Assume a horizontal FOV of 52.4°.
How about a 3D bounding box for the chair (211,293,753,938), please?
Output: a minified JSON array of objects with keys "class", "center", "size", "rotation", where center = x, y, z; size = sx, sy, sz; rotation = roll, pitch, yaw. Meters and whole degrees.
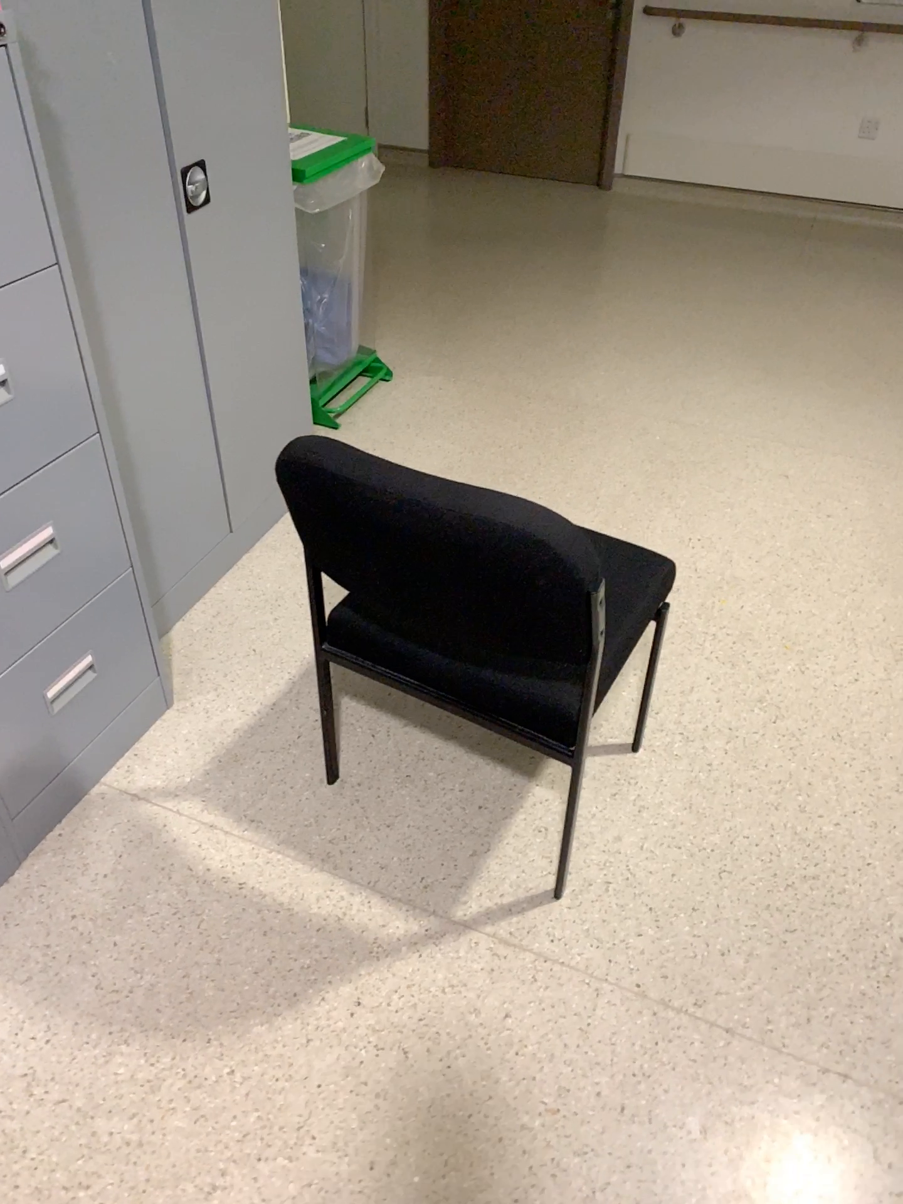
[{"class":"chair","center":[0.062,0.003,1.672],"size":[0.632,0.832,0.584],"rotation":[21,43,23]}]
